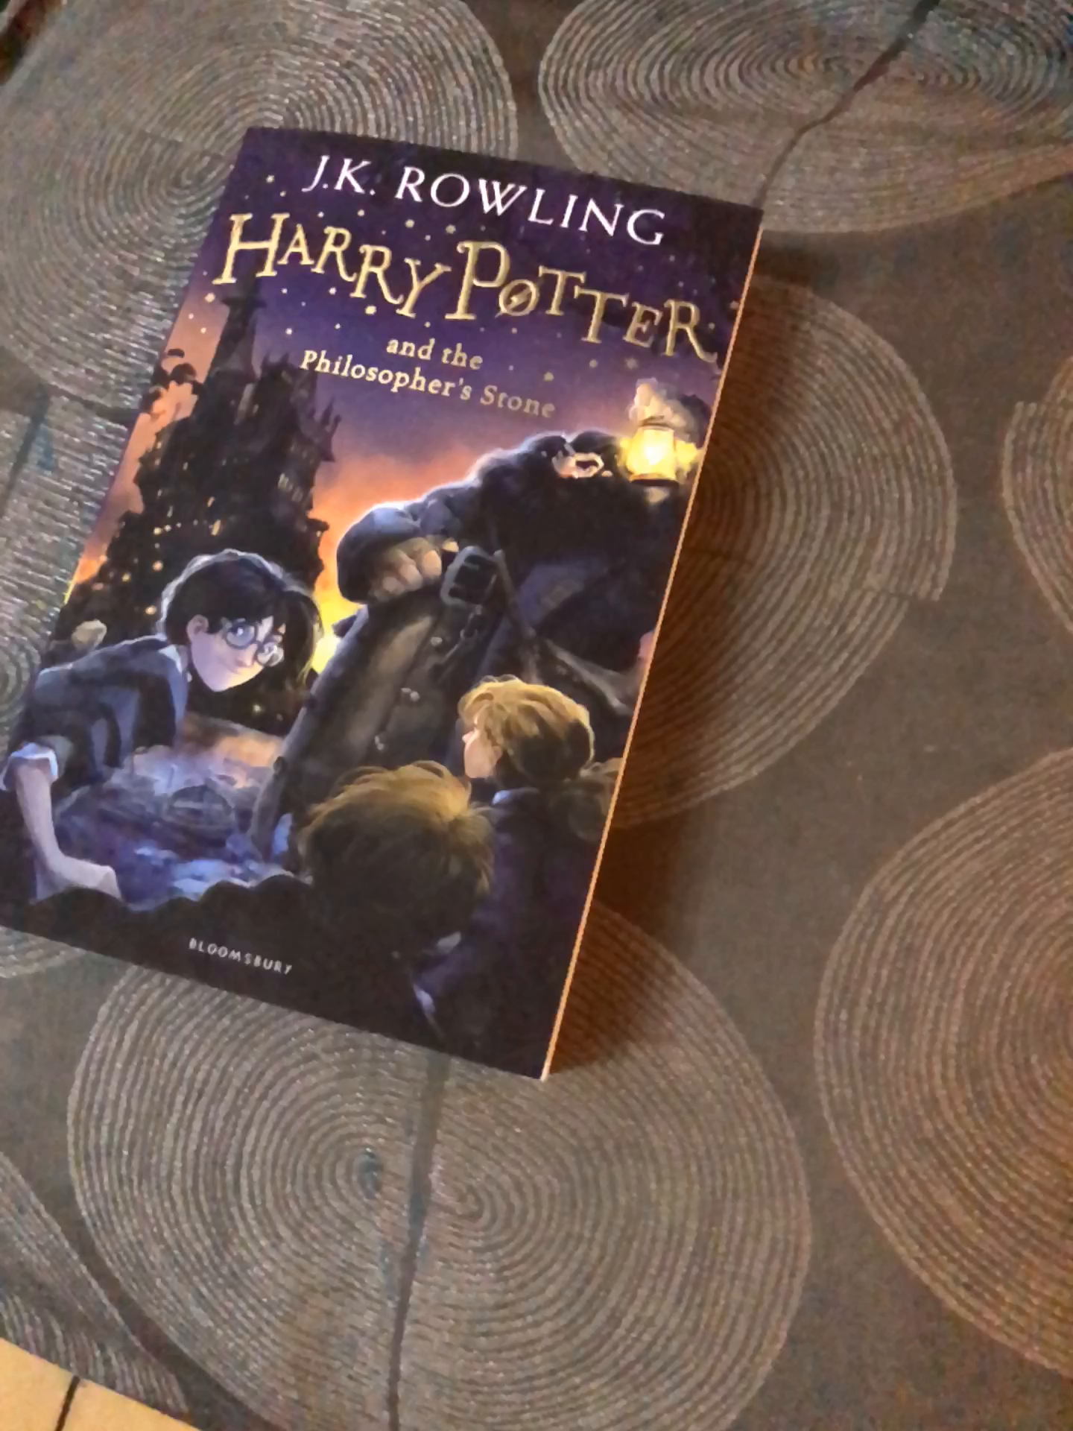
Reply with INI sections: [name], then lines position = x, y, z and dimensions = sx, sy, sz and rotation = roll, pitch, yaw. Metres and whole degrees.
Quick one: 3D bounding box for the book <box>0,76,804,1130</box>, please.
[book]
position = -0.031, -0.032, 0.272
dimensions = 0.140, 0.040, 0.210
rotation = 14, 75, 2
